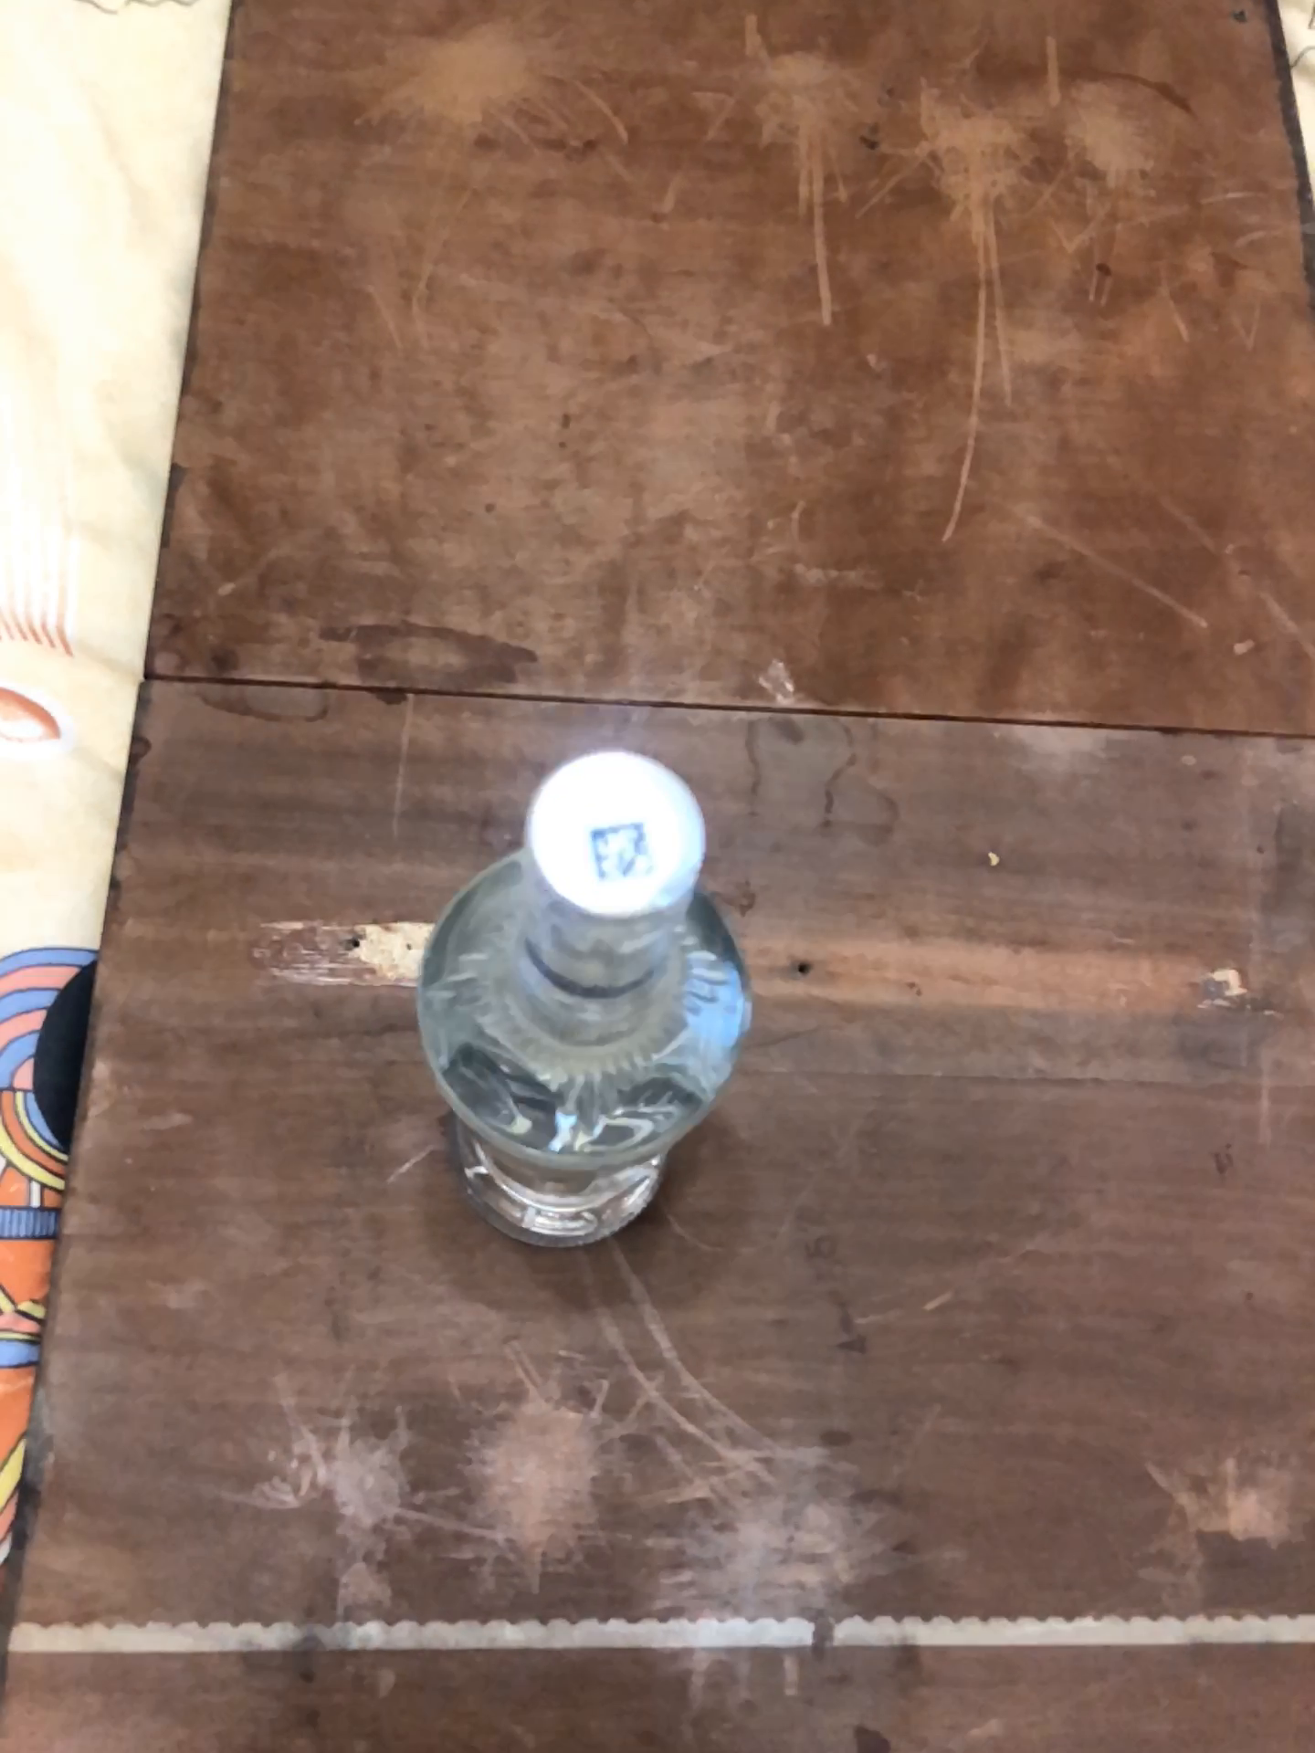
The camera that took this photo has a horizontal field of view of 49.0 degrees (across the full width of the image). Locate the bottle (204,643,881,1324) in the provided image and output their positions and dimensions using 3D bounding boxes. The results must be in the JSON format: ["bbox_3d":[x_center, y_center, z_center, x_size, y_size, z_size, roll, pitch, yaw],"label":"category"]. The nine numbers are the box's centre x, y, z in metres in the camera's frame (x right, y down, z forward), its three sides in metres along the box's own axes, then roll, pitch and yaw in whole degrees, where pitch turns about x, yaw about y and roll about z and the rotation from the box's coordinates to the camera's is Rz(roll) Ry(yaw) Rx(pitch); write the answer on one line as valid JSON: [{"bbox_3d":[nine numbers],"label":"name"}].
[{"bbox_3d":[-0.027,0.053,0.355,0.075,0.274,0.077,1,72,-4],"label":"bottle"}]
